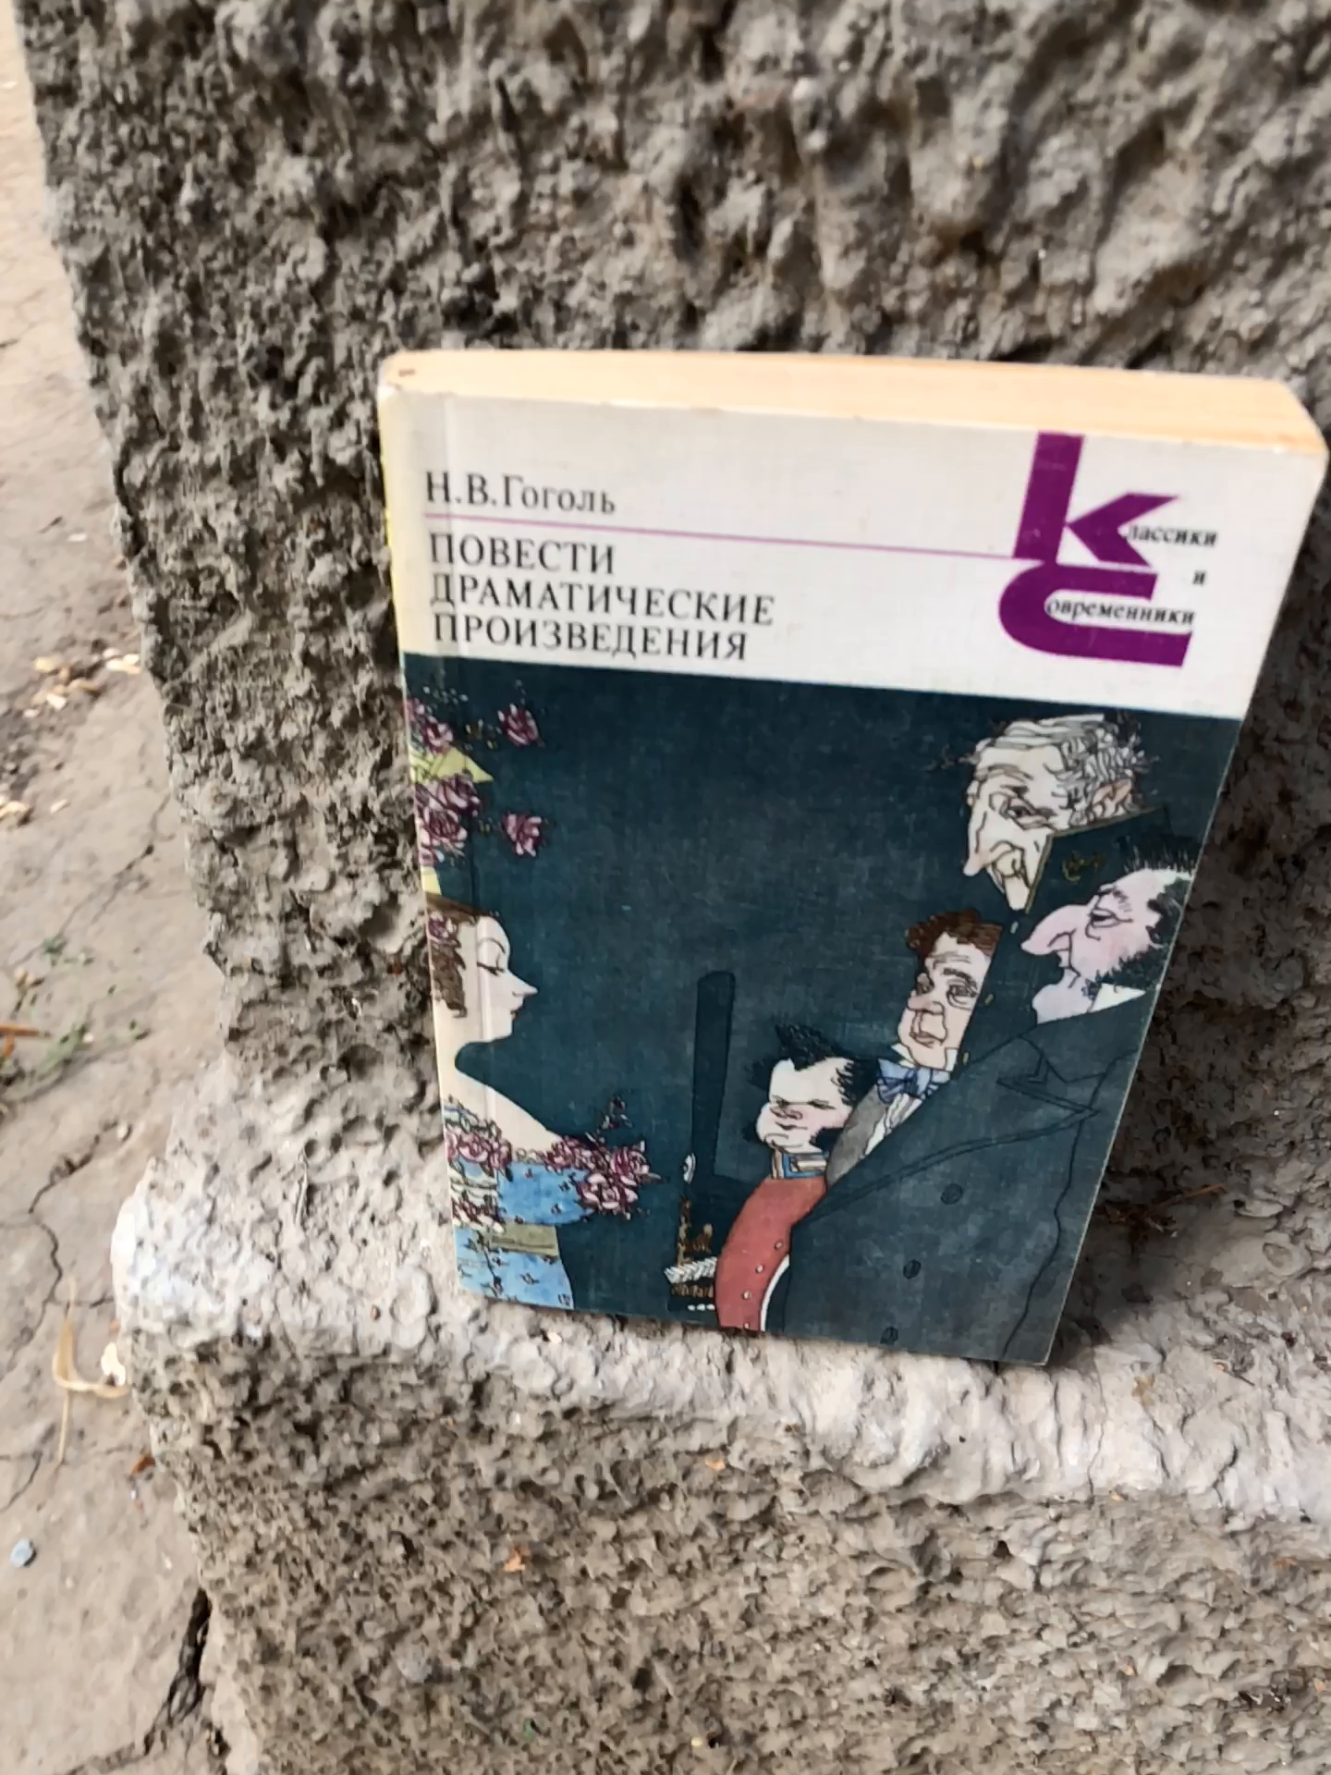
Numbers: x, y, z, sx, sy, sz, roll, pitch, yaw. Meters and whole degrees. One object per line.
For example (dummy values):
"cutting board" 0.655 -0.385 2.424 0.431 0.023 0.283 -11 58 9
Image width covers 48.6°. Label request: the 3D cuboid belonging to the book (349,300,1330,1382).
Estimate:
"book" 0.025 0.007 0.251 0.137 0.190 0.030 4 35 1
